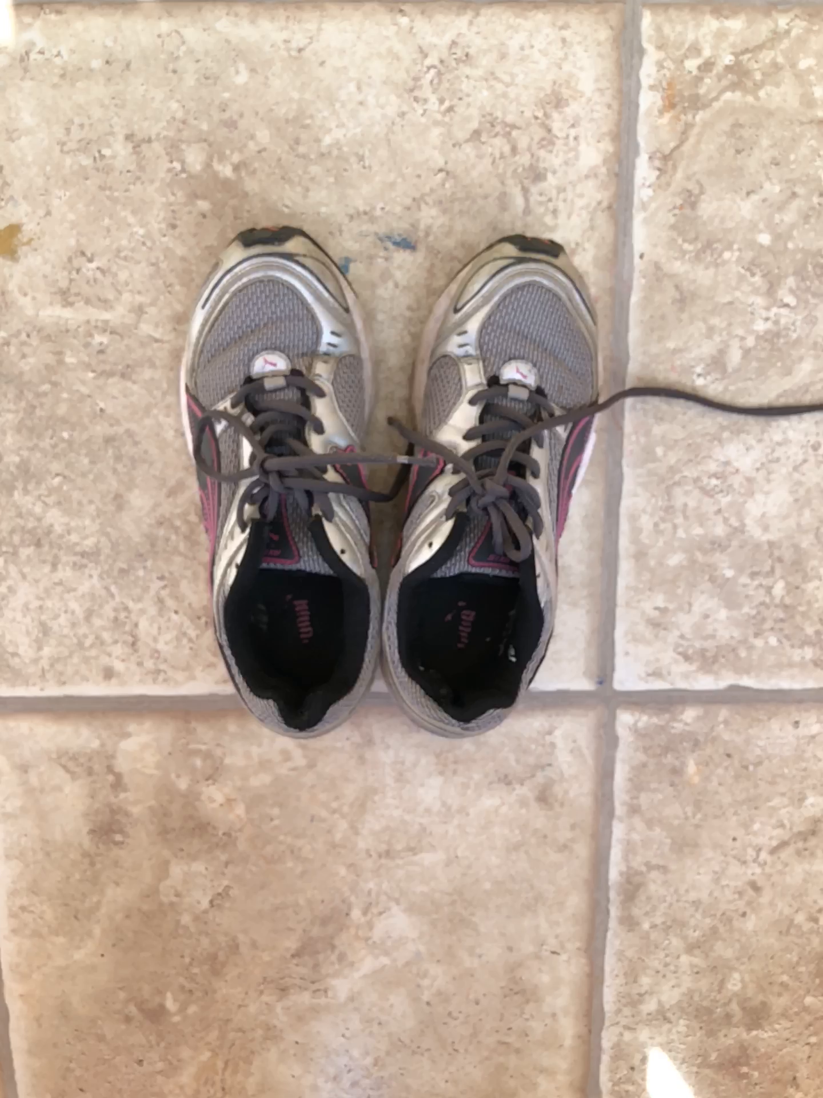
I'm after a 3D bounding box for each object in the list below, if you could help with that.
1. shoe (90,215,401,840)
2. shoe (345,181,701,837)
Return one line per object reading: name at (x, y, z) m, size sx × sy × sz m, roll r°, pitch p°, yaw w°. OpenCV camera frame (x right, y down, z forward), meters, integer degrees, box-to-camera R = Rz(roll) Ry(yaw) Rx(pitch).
shoe at (-0.069, -0.014, 0.469) m, size 0.110 × 0.140 × 0.270 m, roll -4°, pitch 101°, yaw 0°
shoe at (0.042, -0.021, 0.460) m, size 0.110 × 0.140 × 0.270 m, roll 8°, pitch 101°, yaw -2°
